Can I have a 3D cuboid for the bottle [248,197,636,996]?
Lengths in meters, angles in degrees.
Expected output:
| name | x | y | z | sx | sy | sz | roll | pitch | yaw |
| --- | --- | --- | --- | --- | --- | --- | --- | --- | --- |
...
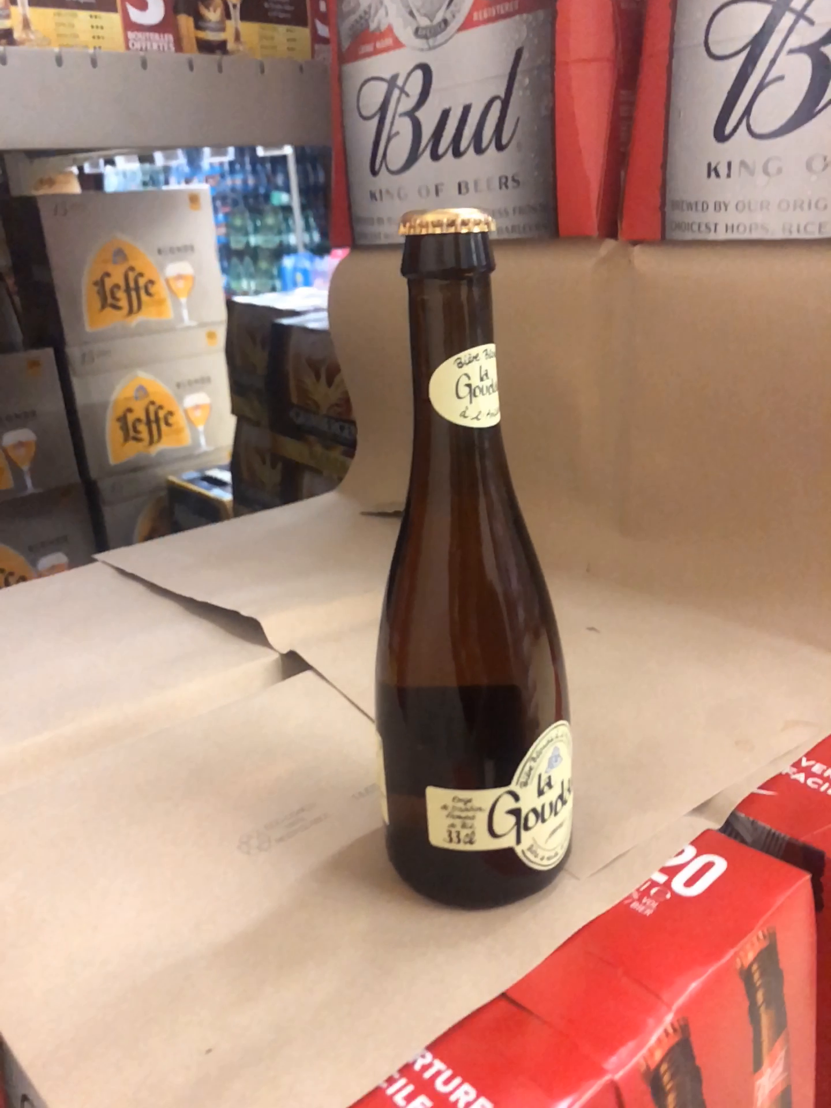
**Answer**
| name | x | y | z | sx | sy | sz | roll | pitch | yaw |
| --- | --- | --- | --- | --- | --- | --- | --- | --- | --- |
| bottle | 0.014 | 0.009 | 0.283 | 0.070 | 0.219 | 0.080 | 13 | 25 | 36 |
